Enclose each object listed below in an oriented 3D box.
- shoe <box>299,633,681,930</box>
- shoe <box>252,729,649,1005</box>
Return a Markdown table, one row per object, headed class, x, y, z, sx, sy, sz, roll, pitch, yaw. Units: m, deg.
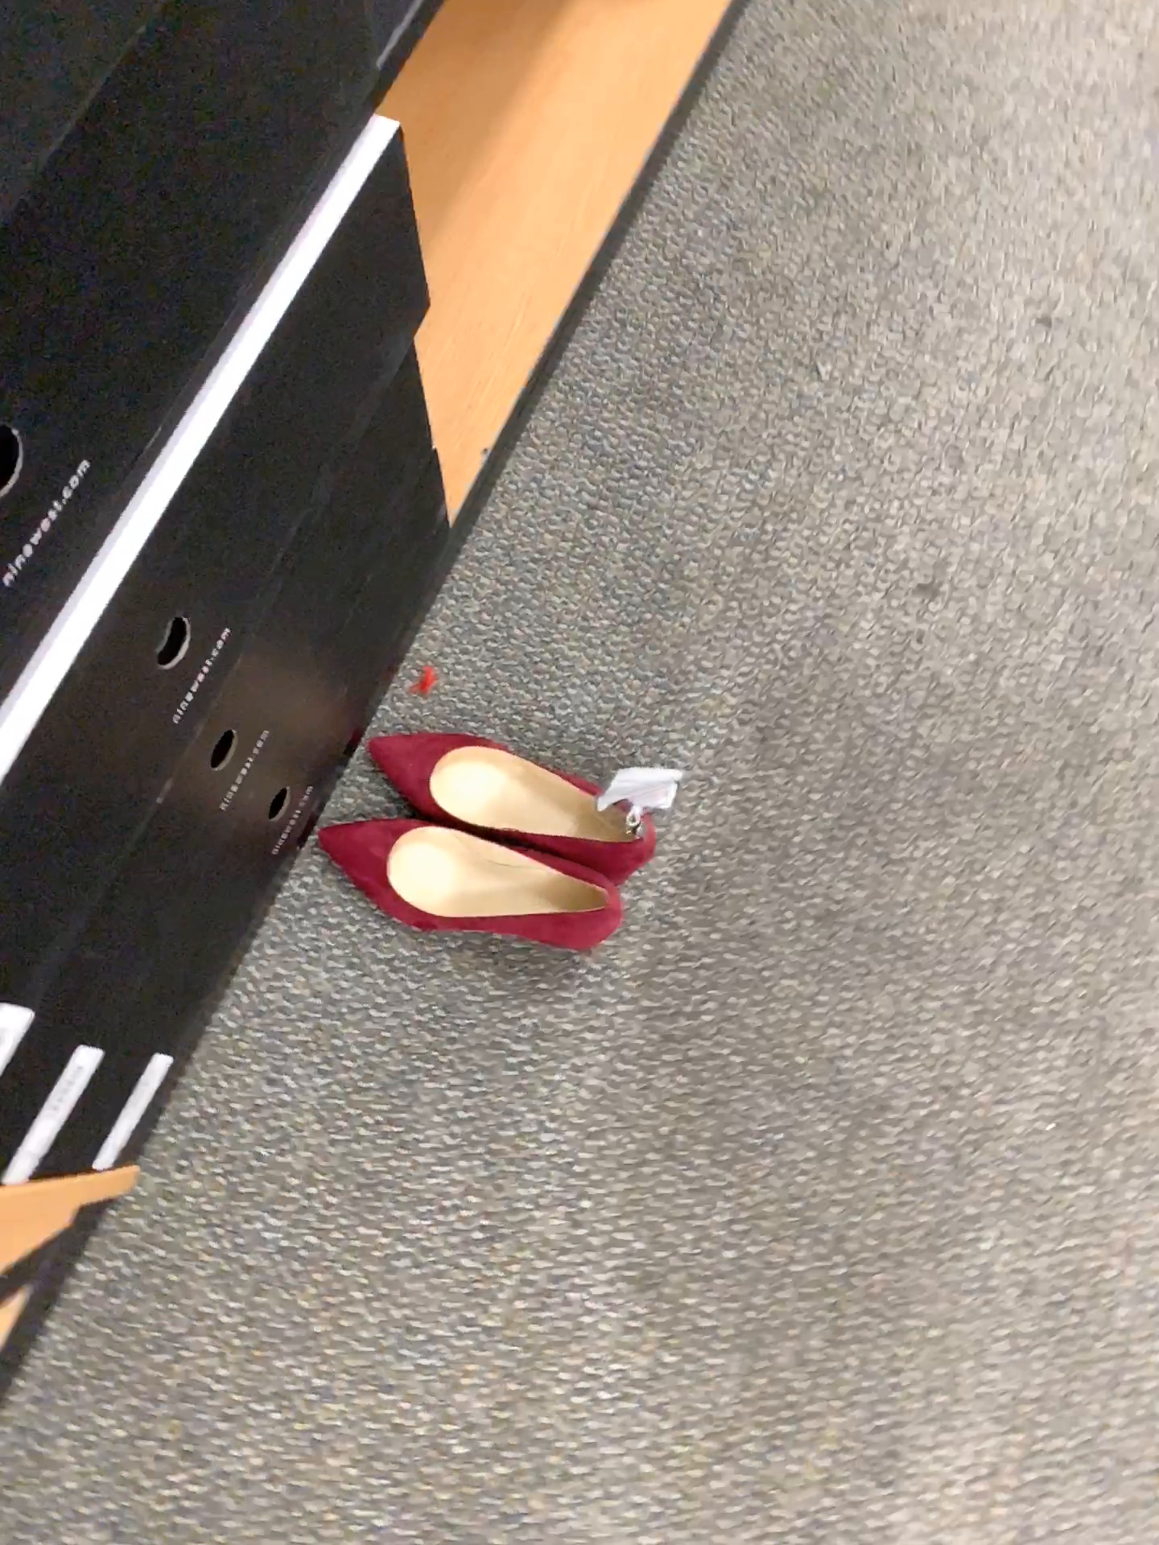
| class | x | y | z | sx | sy | sz | roll | pitch | yaw |
| --- | --- | --- | --- | --- | --- | --- | --- | --- | --- |
| shoe | -0.067 | 0.016 | 0.916 | 0.250 | 0.200 | 0.090 | 23 | 74 | 3 |
| shoe | -0.091 | 0.080 | 0.891 | 0.250 | 0.200 | 0.090 | 20 | 74 | 2 |
